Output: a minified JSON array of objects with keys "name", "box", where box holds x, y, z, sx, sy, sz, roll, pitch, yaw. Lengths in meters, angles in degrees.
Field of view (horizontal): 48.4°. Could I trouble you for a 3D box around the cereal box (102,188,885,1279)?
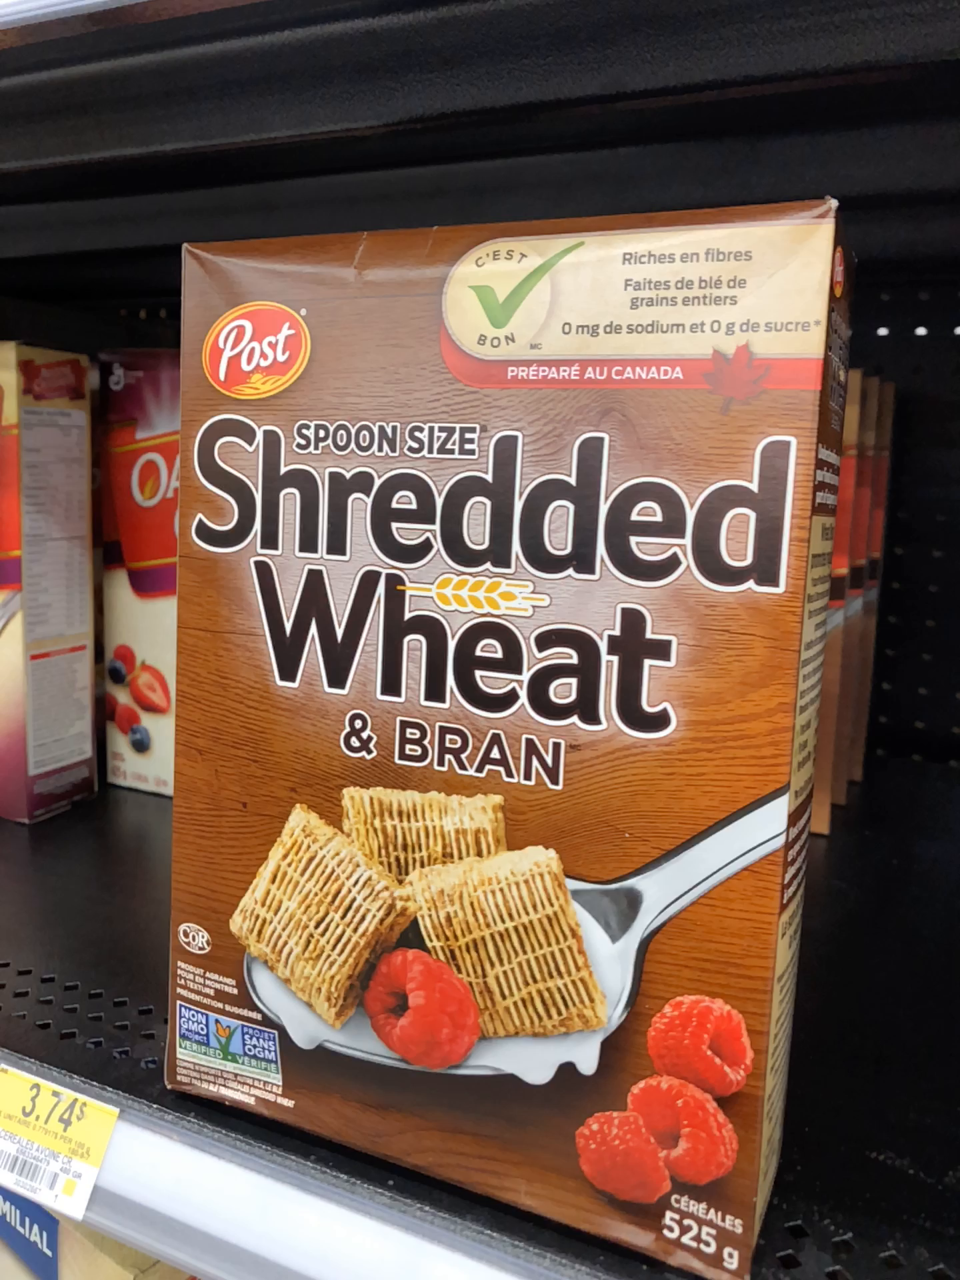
[{"name":"cereal box","box":[-0.007,0.018,0.312,0.210,0.259,0.060,6,8,24]}]
